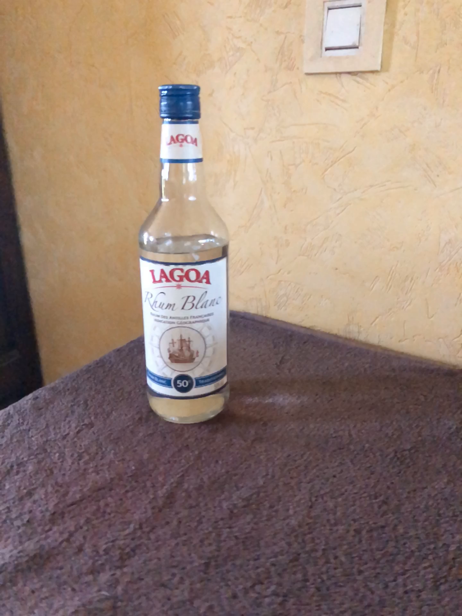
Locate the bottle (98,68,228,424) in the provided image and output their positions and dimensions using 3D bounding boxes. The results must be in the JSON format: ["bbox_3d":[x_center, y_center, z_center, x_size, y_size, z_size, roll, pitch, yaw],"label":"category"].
[{"bbox_3d":[-0.045,-0.044,0.415,0.080,0.269,0.080,0,20,0],"label":"bottle"}]
